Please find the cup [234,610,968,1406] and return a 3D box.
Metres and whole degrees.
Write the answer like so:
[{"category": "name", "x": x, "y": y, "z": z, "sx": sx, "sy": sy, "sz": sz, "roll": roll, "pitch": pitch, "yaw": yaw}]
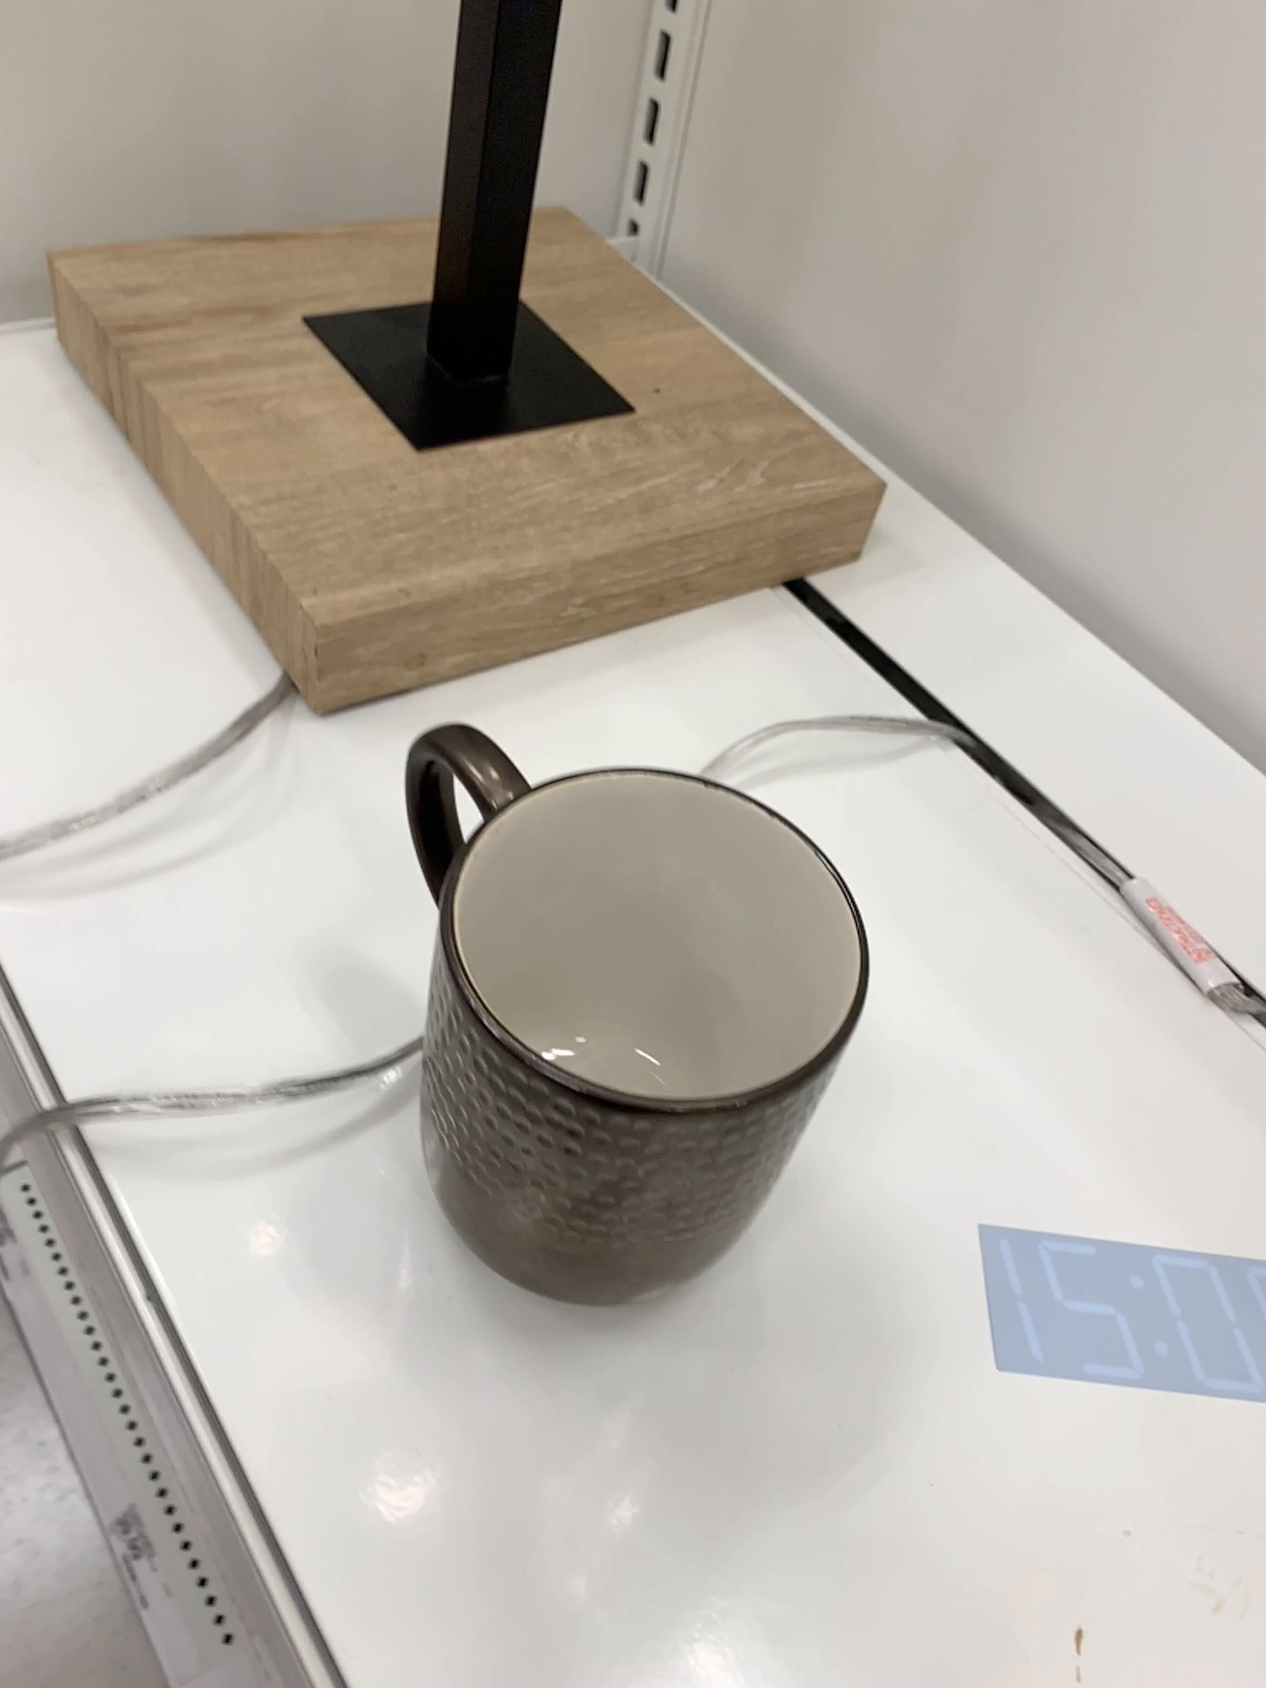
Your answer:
[{"category": "cup", "x": -0.016, "y": 0.033, "z": 0.309, "sx": 0.095, "sy": 0.093, "sz": 0.131, "roll": -27, "pitch": 60, "yaw": -31}]
